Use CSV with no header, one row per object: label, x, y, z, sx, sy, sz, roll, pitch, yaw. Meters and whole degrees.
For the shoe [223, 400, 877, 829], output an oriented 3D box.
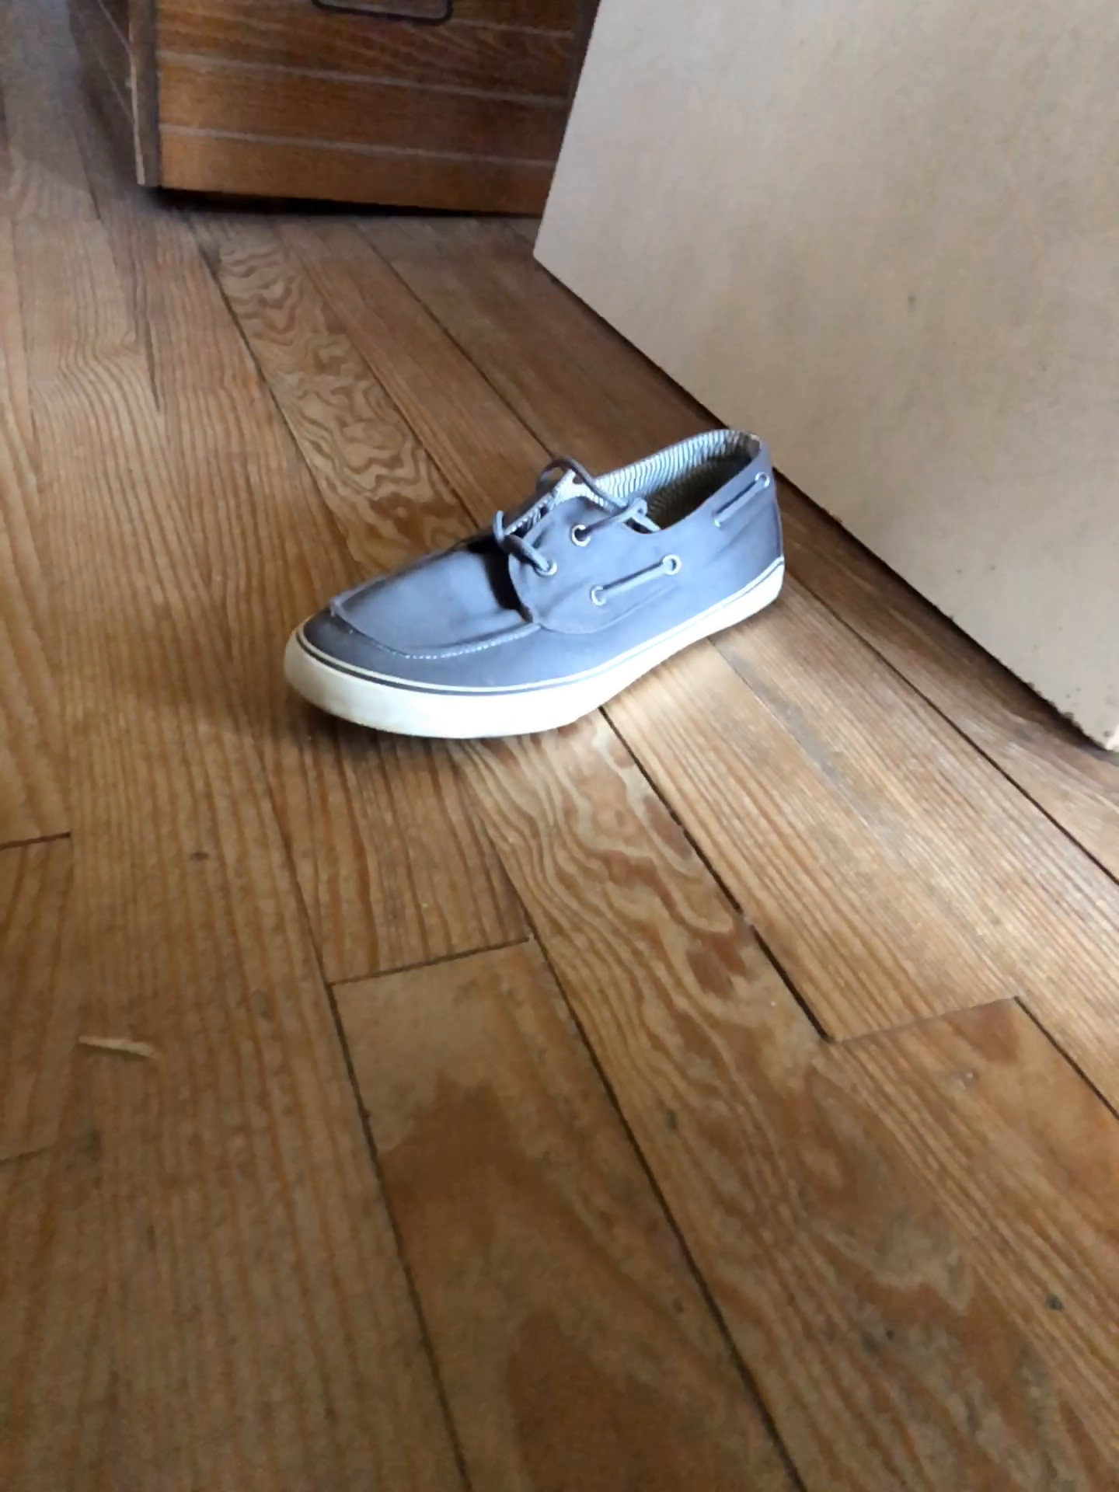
shoe,0.008,-0.071,0.512,0.272,0.060,0.100,-28,48,-36
